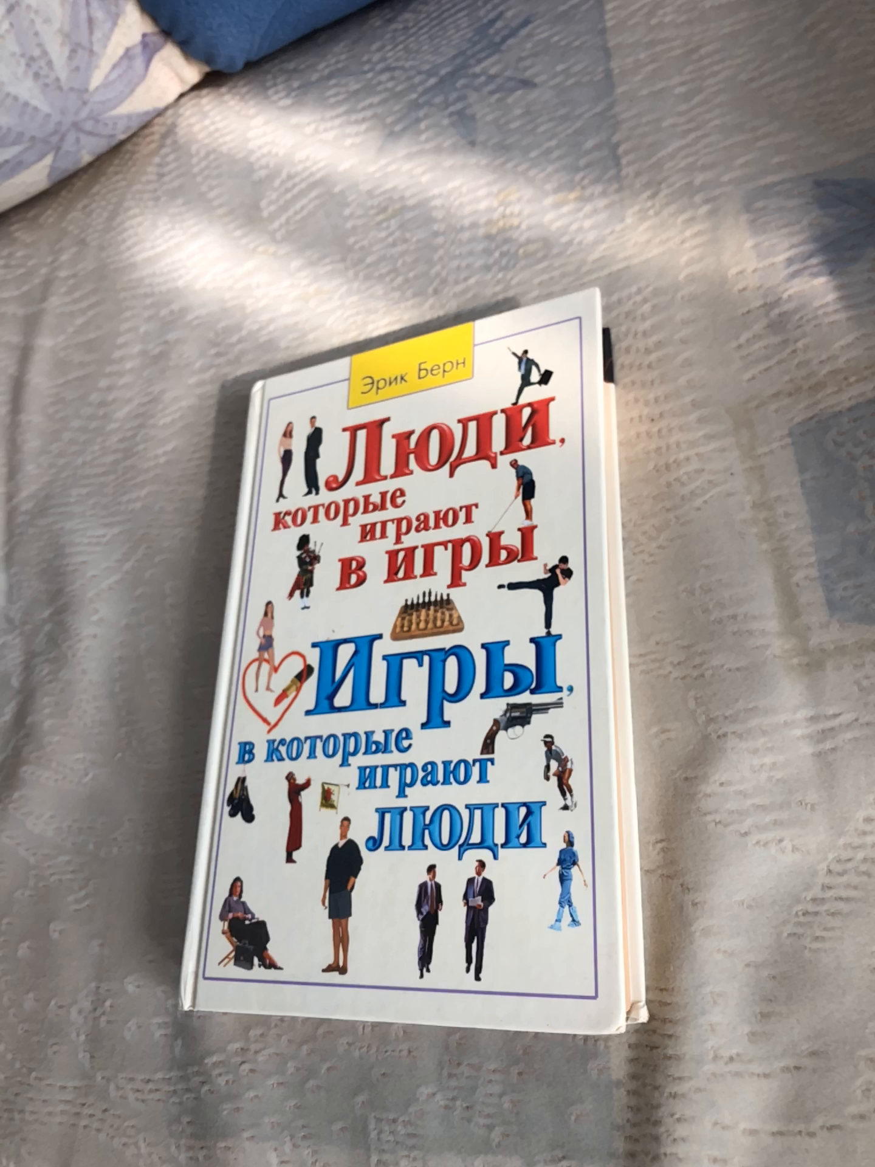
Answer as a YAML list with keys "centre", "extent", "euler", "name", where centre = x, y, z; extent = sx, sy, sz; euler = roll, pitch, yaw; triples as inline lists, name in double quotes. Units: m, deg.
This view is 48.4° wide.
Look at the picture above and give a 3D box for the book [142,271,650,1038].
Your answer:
- centre: [-0.012, 0.017, 0.295]
  extent: [0.135, 0.030, 0.211]
  euler: [-8, 66, 23]
  name: "book"
